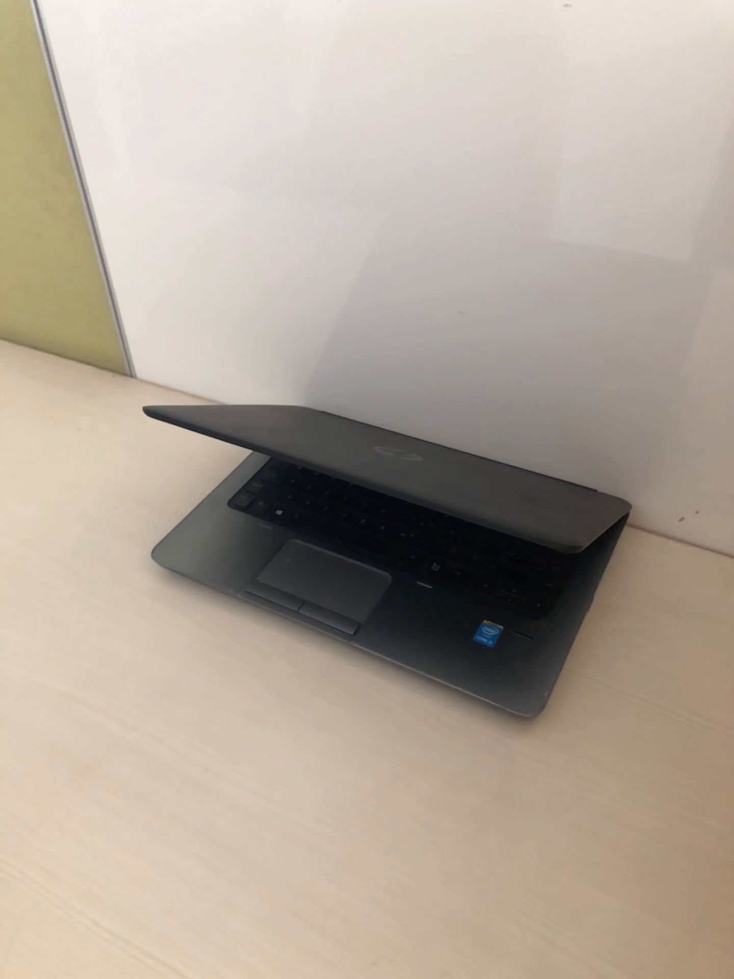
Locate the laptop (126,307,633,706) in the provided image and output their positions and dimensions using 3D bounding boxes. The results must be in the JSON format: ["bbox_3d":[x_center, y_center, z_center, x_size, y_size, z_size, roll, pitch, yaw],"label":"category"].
[{"bbox_3d":[0.016,-0.009,0.653,0.320,0.118,0.221,18,46,22],"label":"laptop"}]
